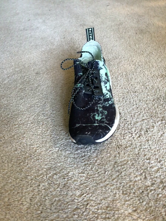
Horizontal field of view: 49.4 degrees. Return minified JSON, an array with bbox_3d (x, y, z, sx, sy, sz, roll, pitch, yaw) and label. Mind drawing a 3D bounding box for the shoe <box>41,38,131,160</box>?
[{"bbox_3d":[0.016,-0.048,0.400,0.131,0.100,0.288,0,45,5],"label":"shoe"}]
